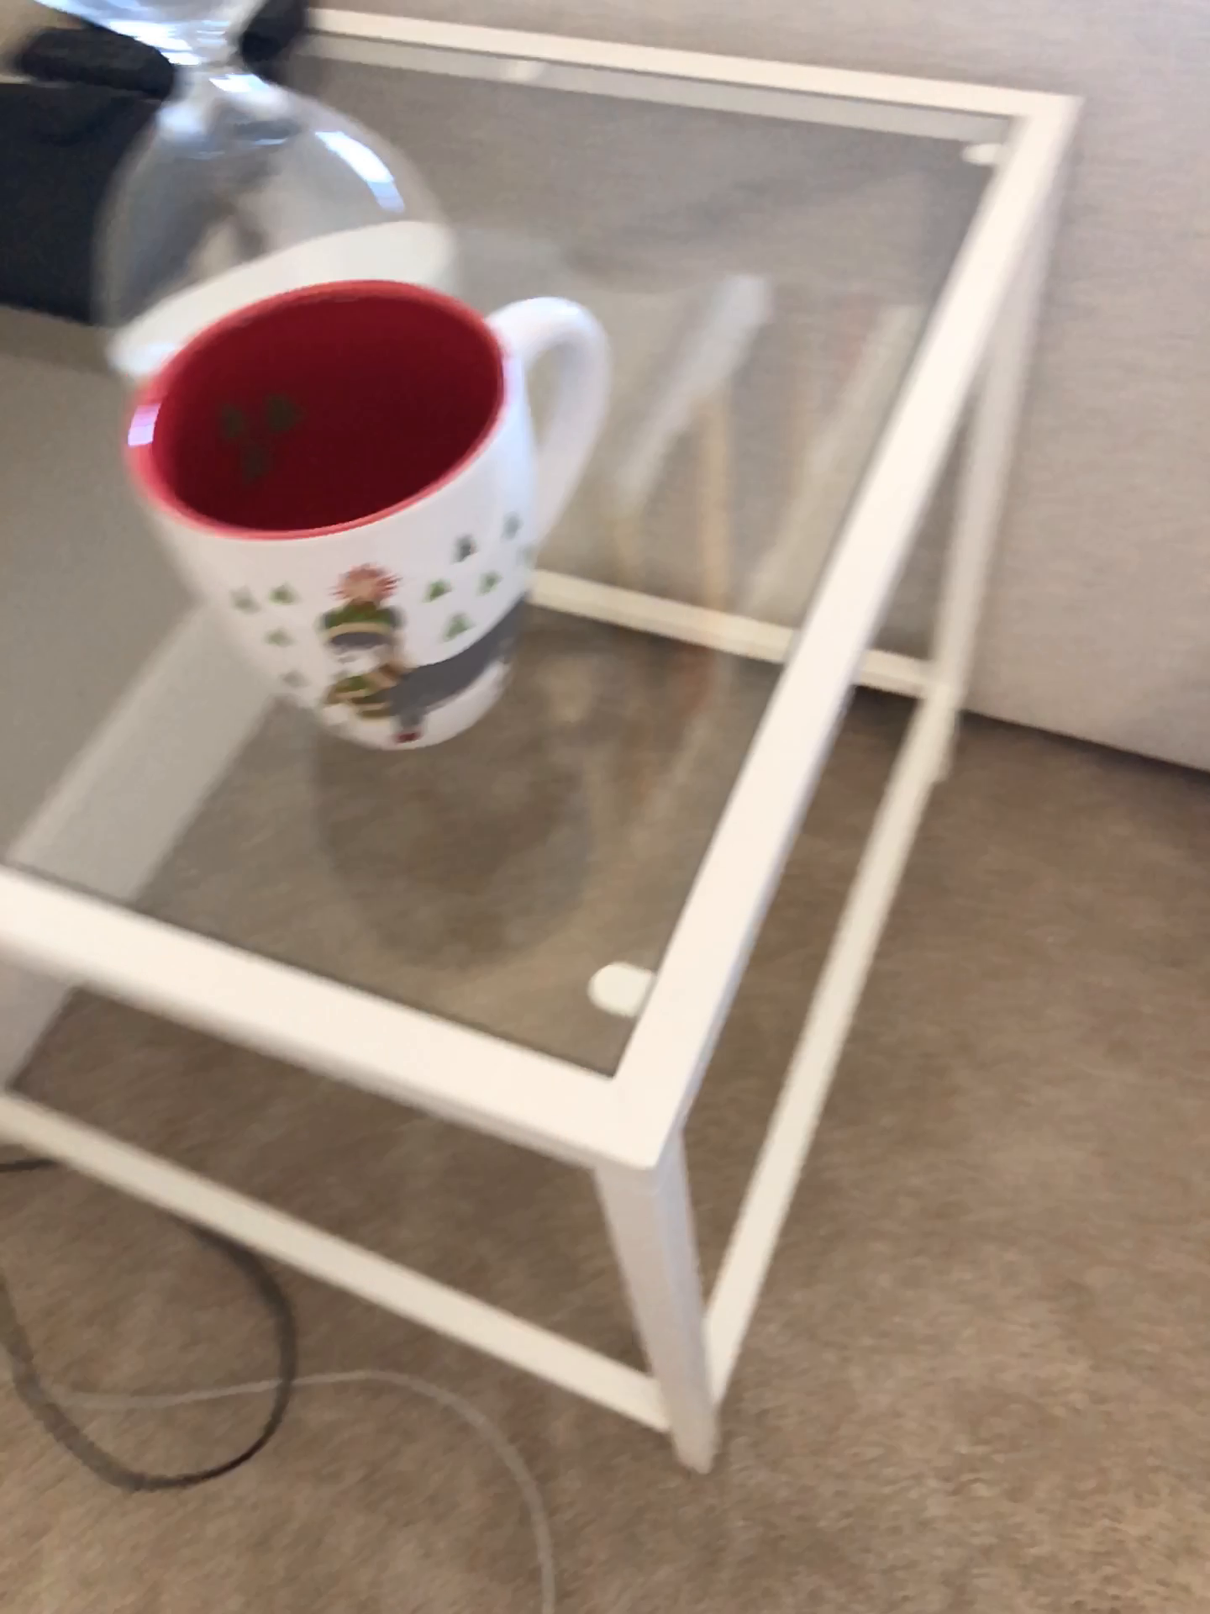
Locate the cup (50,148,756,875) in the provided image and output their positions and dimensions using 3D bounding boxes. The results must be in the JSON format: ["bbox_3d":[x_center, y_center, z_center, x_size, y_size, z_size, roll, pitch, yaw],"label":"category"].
[{"bbox_3d":[-0.046,-0.085,0.386,0.150,0.110,0.100,-39,60,-19],"label":"cup"}]
